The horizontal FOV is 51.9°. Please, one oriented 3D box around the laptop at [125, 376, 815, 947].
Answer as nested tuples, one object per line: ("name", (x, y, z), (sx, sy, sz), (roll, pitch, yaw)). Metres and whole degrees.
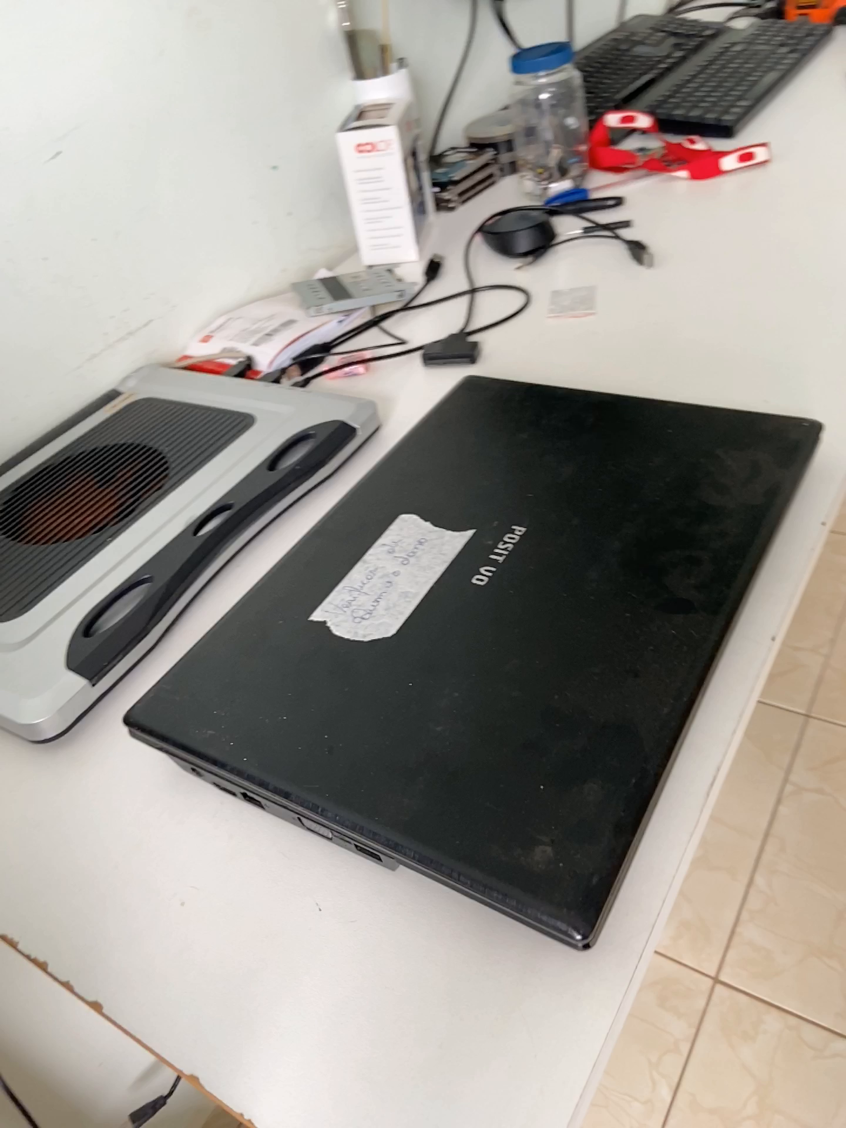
("laptop", (0.042, 0.000, 0.454), (0.233, 0.008, 0.330), (15, 46, 29))
